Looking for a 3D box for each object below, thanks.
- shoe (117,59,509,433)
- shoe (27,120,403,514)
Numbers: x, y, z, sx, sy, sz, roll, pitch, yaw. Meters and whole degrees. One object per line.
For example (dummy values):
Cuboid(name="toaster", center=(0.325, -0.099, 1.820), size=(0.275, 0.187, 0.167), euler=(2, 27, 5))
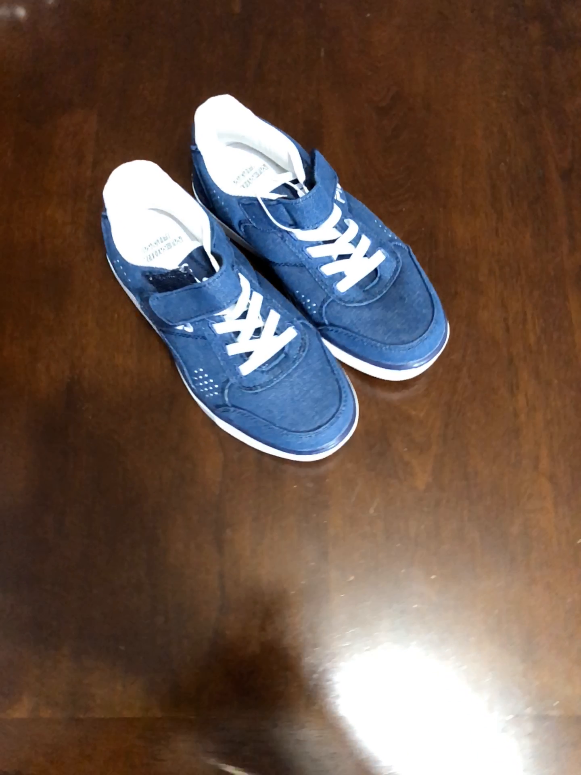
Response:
Cuboid(name="shoe", center=(0.009, -0.096, 0.436), size=(0.240, 0.080, 0.100), euler=(43, 77, 13))
Cuboid(name="shoe", center=(-0.050, -0.045, 0.415), size=(0.090, 0.080, 0.240), euler=(-39, 76, -12))
